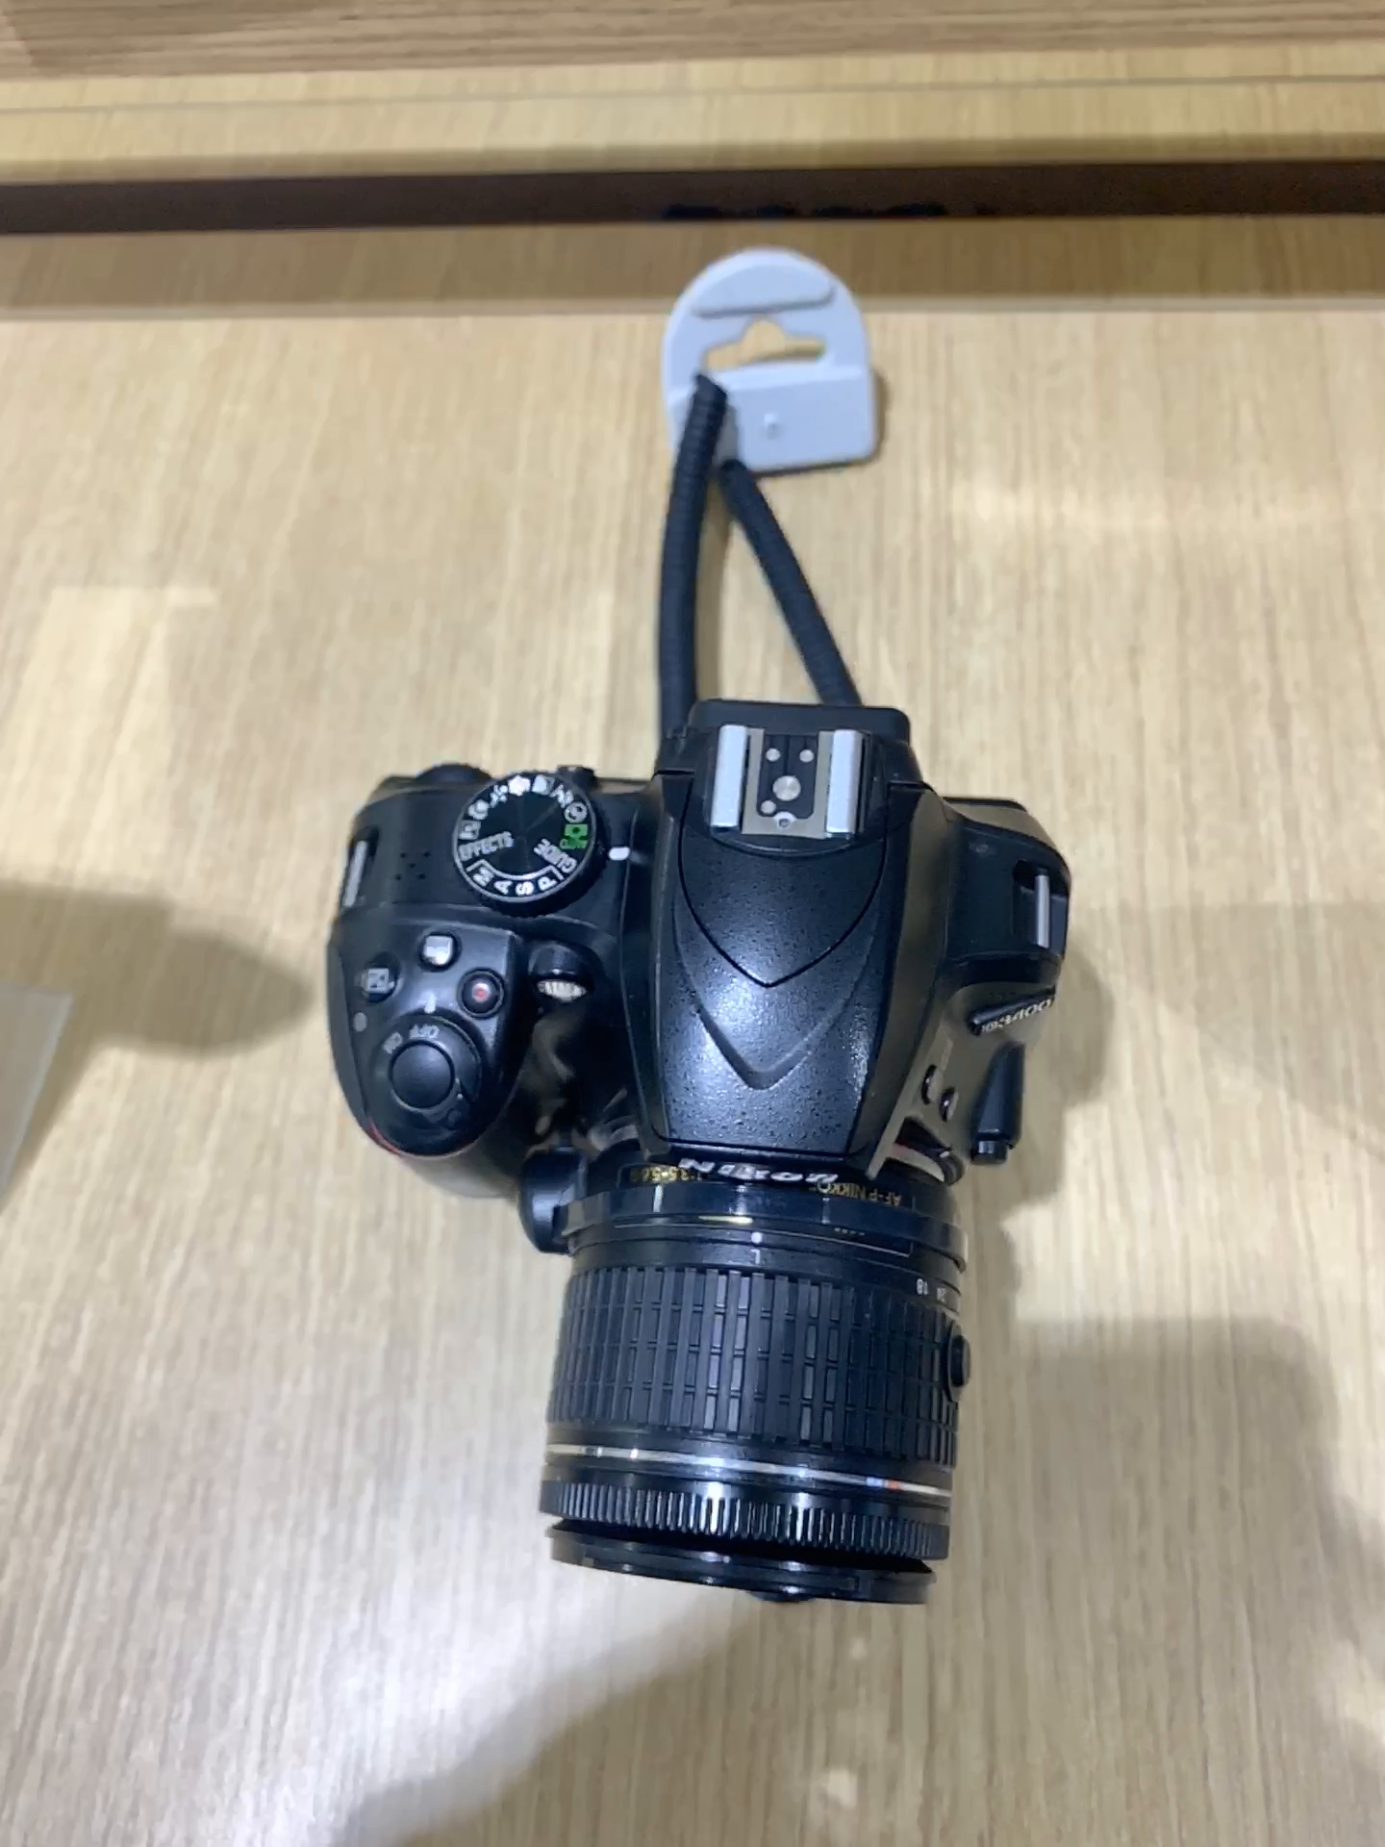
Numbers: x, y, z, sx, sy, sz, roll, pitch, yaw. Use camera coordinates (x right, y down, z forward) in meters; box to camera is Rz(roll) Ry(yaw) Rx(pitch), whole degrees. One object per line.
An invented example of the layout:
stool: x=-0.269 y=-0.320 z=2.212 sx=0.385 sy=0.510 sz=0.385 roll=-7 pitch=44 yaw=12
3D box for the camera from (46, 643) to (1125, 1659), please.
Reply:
camera: x=-0.006 y=0.037 z=0.227 sx=0.120 sy=0.090 sz=0.130 roll=1 pitch=65 yaw=7
